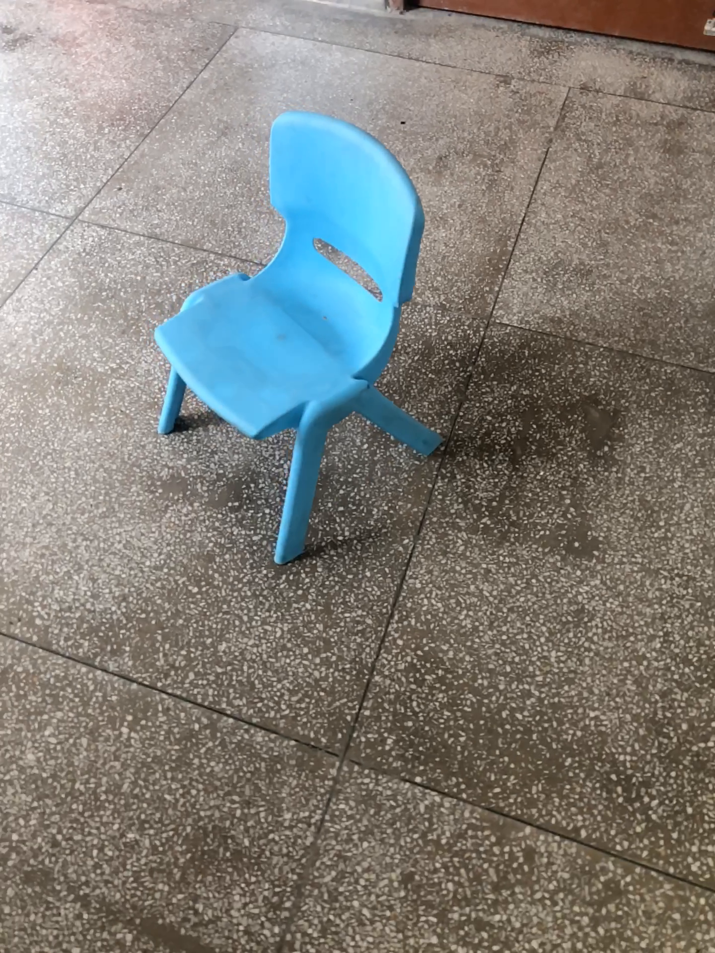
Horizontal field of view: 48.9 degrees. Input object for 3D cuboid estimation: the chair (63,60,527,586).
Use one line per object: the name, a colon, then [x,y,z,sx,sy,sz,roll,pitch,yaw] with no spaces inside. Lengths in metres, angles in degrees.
chair: [-0.075,-0.202,1.118,0.390,0.499,0.381,-34,61,-22]
